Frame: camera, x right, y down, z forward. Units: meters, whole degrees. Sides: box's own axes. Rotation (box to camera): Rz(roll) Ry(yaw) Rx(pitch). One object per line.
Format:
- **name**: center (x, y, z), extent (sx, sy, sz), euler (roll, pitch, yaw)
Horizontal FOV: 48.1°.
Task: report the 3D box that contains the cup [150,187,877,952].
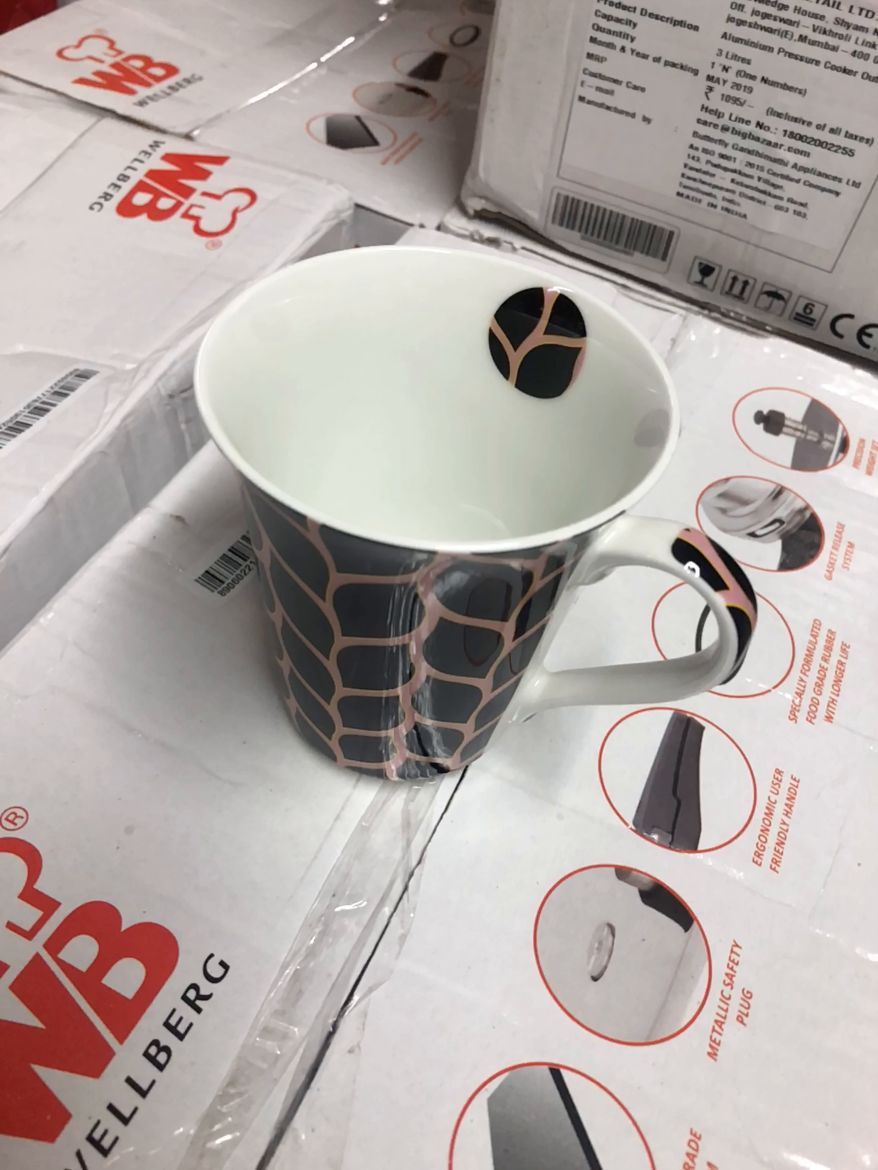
- **cup**: center (0.015, -0.004, 0.199), extent (0.110, 0.089, 0.080), euler (25, 50, 9)
